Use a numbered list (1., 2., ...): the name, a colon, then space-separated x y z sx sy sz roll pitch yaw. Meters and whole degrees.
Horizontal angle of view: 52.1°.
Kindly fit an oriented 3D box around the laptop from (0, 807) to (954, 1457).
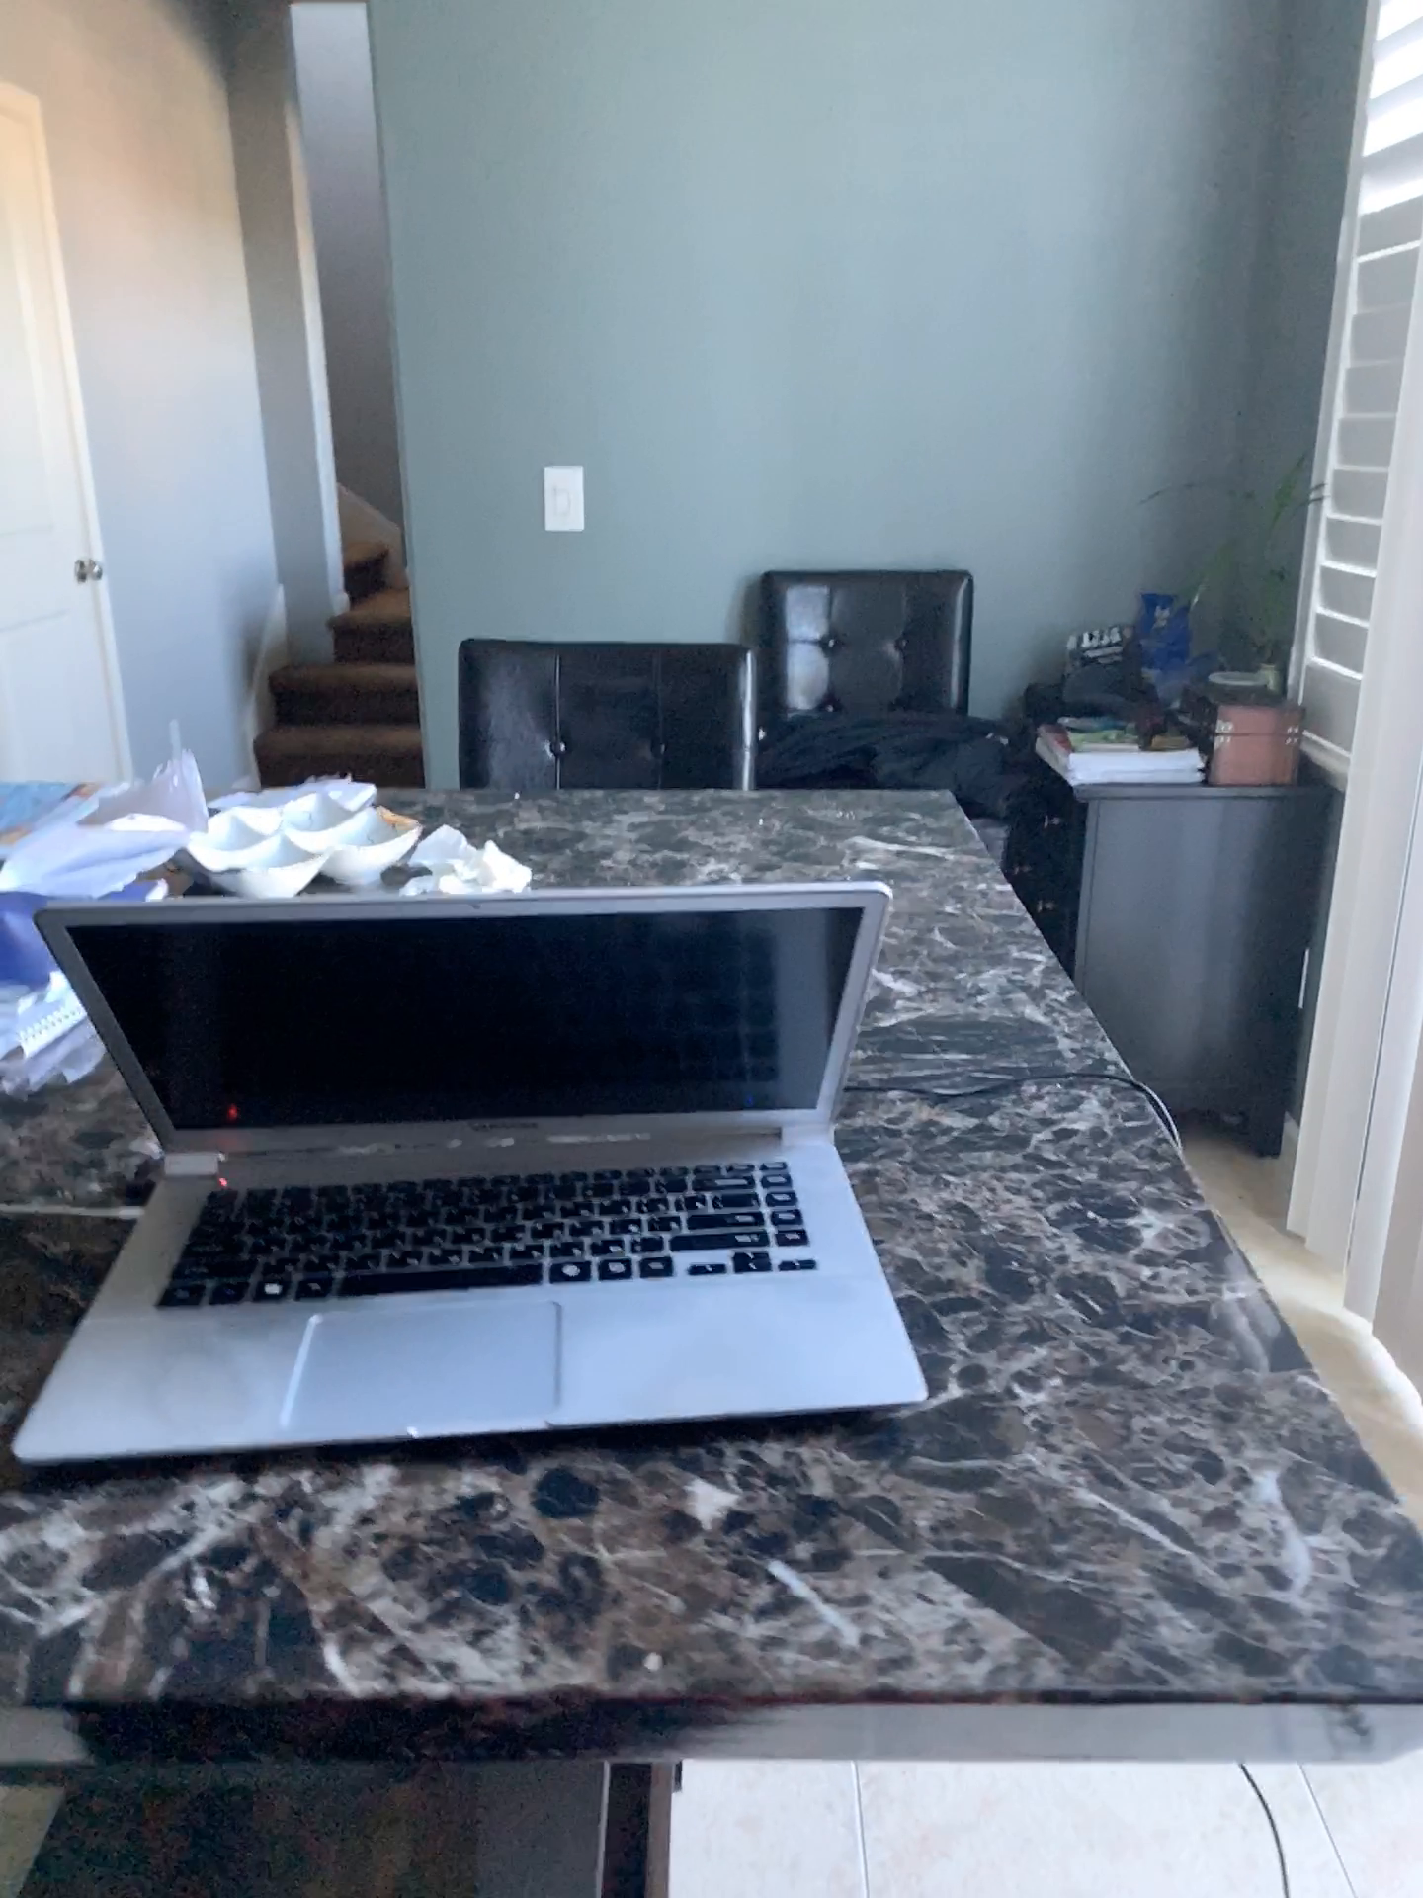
1. laptop: -0.102 0.062 0.657 0.361 0.188 0.235 -2 19 -5
